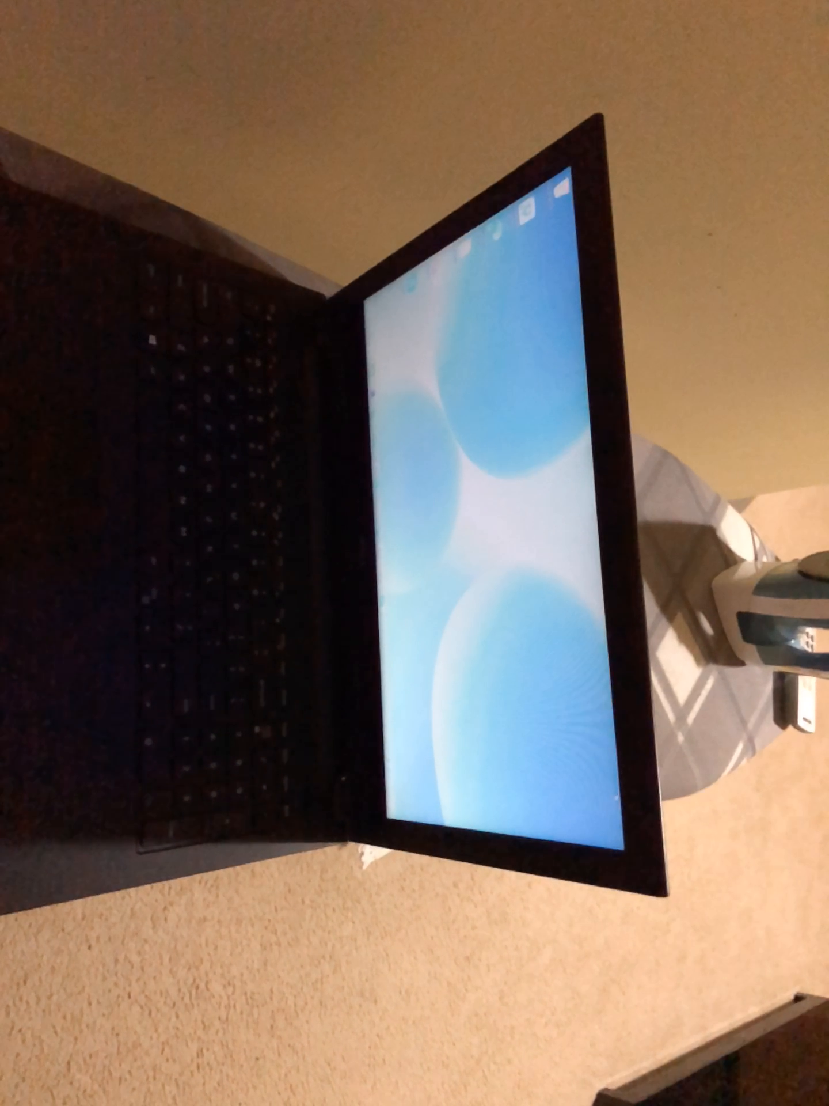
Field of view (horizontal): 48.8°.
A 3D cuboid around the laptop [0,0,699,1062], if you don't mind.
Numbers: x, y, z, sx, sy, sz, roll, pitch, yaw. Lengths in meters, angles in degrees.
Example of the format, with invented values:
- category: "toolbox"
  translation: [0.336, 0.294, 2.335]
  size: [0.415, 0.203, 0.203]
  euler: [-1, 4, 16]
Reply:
- category: "laptop"
  translation: [-0.052, -0.018, 0.426]
  size: [0.248, 0.231, 0.352]
  euler: [5, 78, -45]
